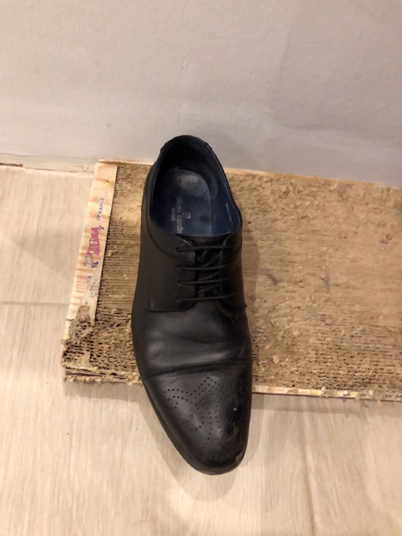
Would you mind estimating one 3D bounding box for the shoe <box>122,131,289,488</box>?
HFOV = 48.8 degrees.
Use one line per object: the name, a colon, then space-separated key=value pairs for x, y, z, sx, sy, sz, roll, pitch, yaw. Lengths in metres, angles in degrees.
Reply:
shoe: x=-0.013 y=0.026 z=0.379 sx=0.090 sy=0.100 sz=0.281 roll=-3 pitch=64 yaw=-10
